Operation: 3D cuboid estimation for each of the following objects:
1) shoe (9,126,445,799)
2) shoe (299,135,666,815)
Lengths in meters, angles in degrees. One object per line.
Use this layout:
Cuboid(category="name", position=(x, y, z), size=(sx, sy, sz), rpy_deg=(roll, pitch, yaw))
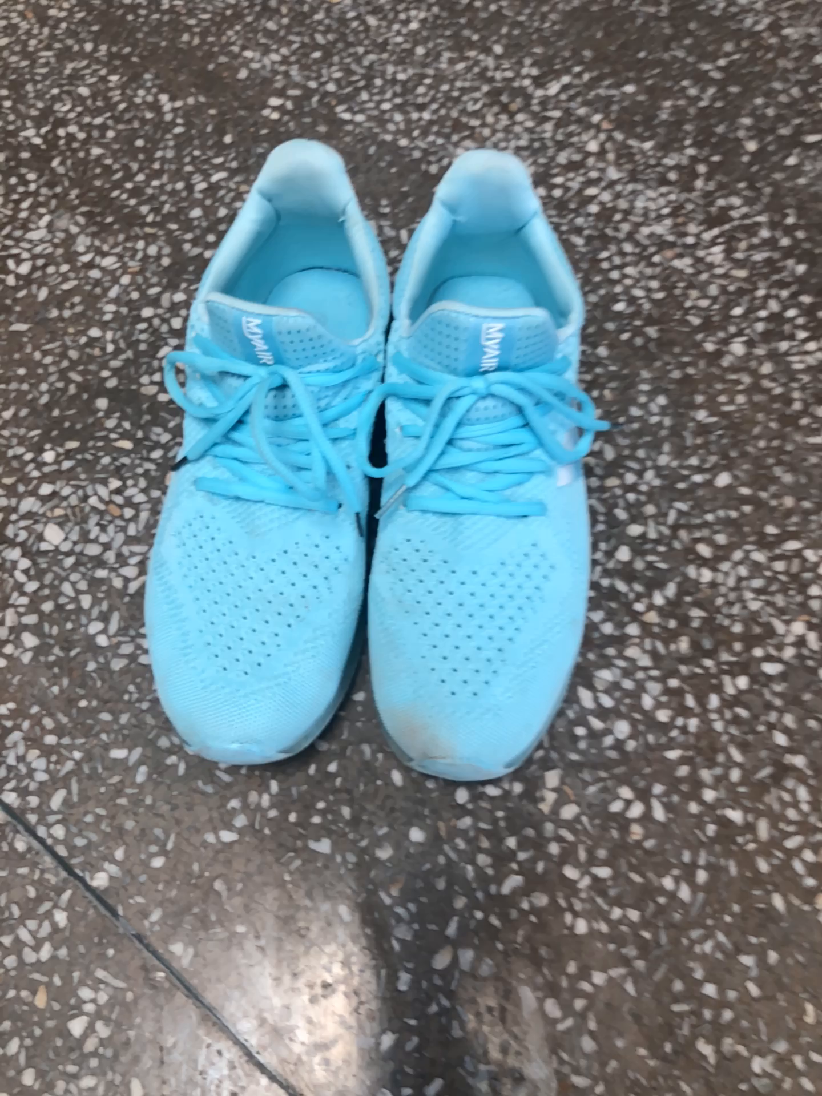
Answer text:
Cuboid(category="shoe", position=(-0.059, -0.040, 0.420), size=(0.120, 0.125, 0.271), rpy_deg=(6, 66, 4))
Cuboid(category="shoe", position=(0.037, -0.034, 0.413), size=(0.120, 0.125, 0.271), rpy_deg=(4, 66, 4))
